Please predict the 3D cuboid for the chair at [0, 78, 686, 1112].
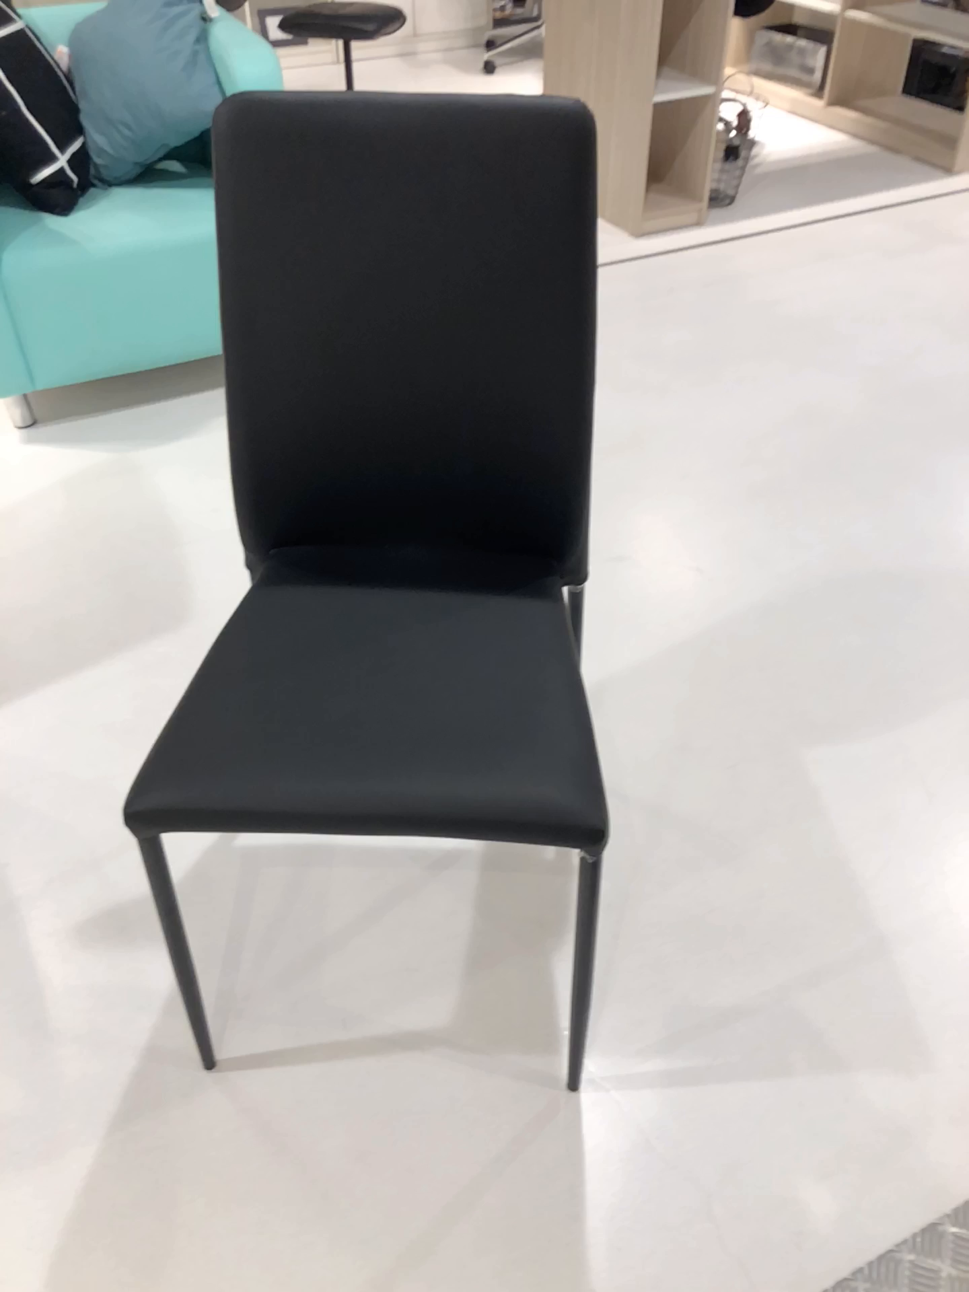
[{"bbox_3d":[-0.097,-0.033,1.095,0.450,0.863,0.605,1,40,2],"label":"chair"}]
